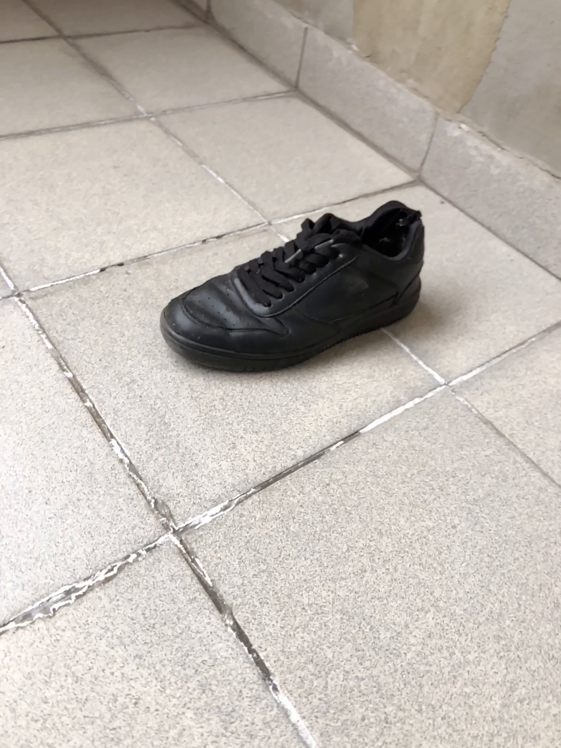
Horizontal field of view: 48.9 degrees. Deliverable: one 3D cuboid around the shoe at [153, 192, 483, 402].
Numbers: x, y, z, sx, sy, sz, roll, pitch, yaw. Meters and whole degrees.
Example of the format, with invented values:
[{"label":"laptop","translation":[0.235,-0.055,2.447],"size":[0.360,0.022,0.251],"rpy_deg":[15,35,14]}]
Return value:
[{"label":"shoe","translation":[0.035,-0.084,0.599],"size":[0.291,0.099,0.110],"rpy_deg":[-16,54,-24]}]
